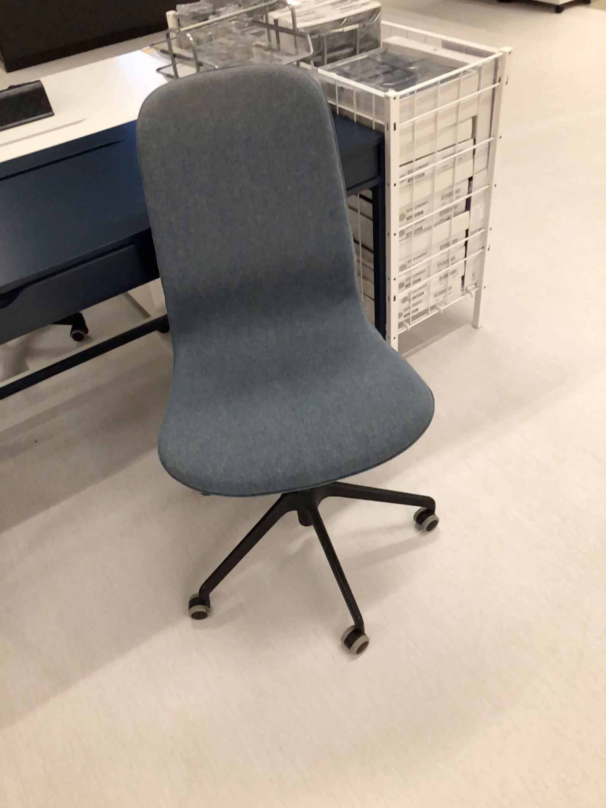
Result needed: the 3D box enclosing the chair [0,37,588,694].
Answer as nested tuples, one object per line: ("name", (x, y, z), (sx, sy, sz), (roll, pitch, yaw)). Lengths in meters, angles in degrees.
("chair", (-0.017, -0.052, 1.274), (0.640, 0.934, 0.685), (-11, 43, -4))
